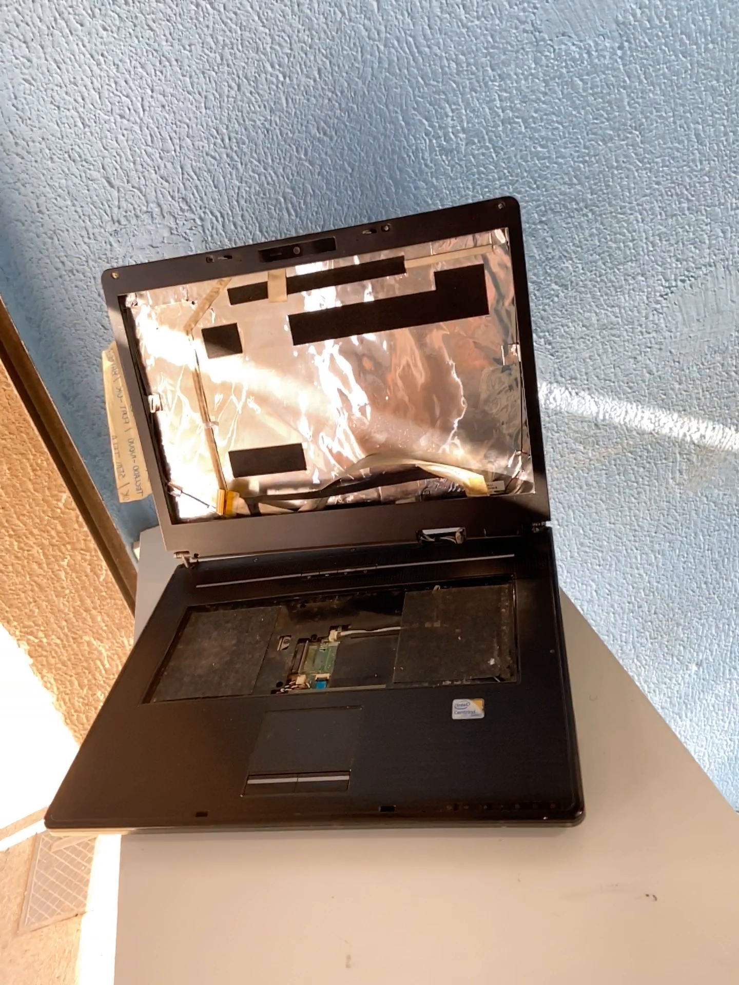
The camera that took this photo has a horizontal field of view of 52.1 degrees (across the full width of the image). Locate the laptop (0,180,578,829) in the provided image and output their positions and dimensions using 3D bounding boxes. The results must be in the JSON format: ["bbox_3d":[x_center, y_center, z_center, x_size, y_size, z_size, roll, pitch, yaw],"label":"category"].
[{"bbox_3d":[-0.056,-0.006,0.543,0.352,0.261,0.352,-7,32,15],"label":"laptop"}]
